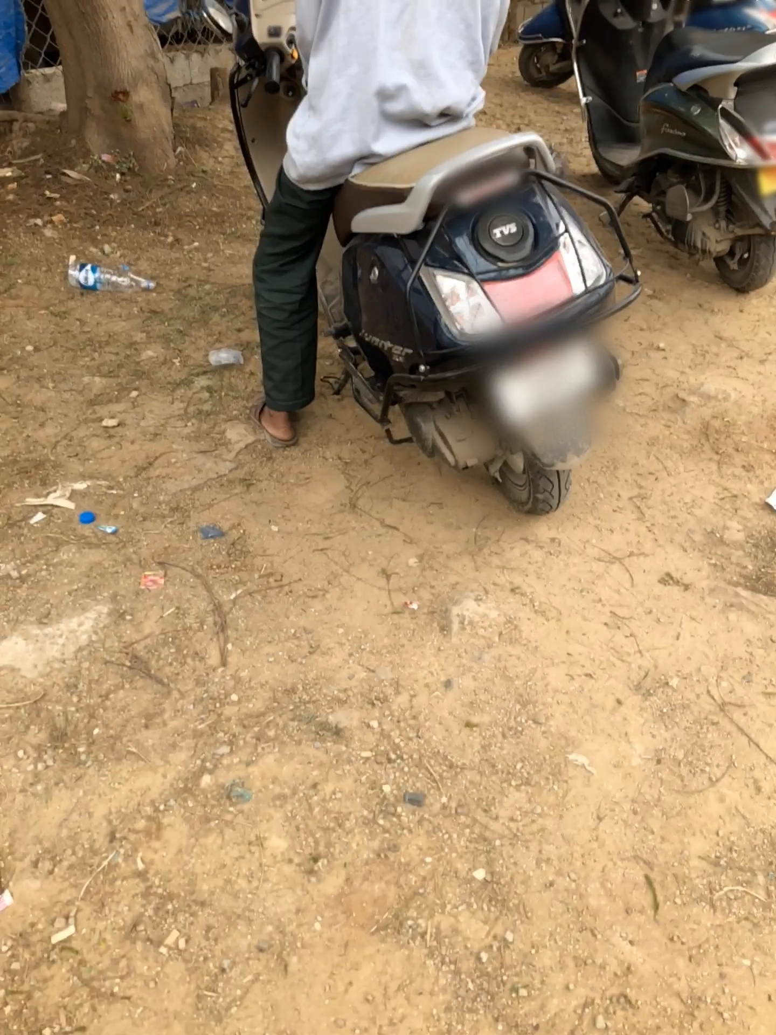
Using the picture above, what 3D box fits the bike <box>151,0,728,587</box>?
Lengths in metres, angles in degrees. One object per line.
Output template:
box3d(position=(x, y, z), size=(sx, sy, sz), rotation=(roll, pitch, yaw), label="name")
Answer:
box3d(position=(-0.014, -0.860, 1.946), size=(0.635, 1.119, 1.347), rotation=(-12, 44, -16), label="bike")
